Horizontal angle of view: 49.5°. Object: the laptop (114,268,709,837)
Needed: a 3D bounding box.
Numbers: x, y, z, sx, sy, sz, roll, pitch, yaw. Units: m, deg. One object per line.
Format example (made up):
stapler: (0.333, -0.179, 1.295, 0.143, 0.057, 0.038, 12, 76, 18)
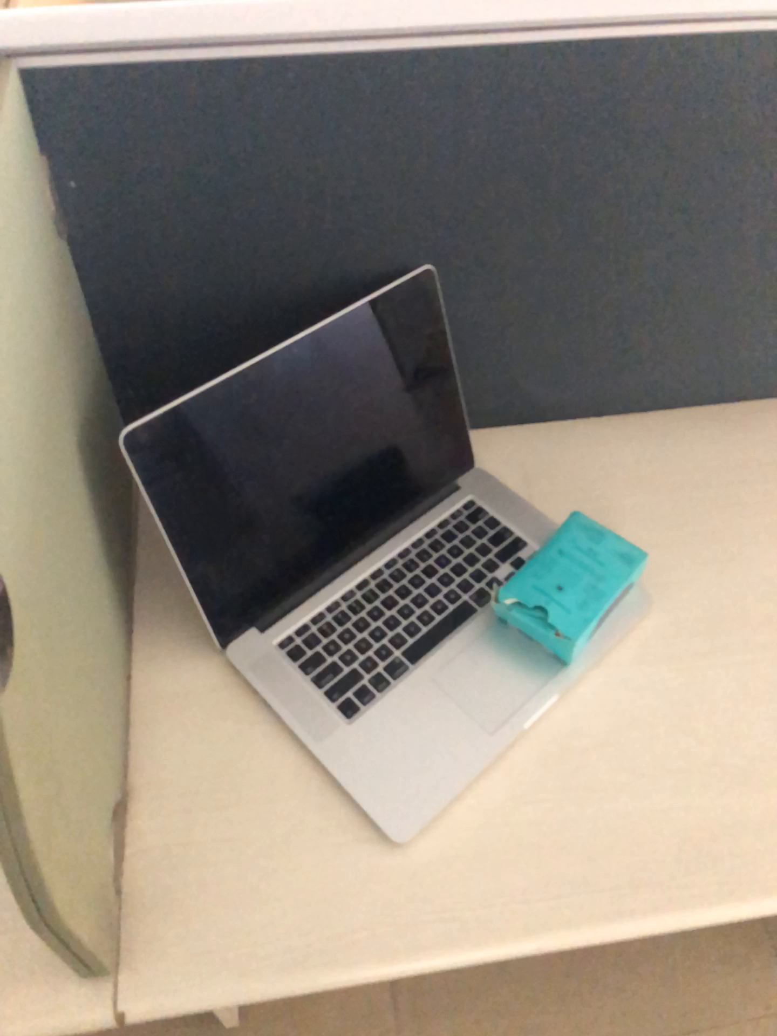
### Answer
laptop: (0.017, 0.009, 0.749, 0.329, 0.200, 0.339, -35, 61, -25)
